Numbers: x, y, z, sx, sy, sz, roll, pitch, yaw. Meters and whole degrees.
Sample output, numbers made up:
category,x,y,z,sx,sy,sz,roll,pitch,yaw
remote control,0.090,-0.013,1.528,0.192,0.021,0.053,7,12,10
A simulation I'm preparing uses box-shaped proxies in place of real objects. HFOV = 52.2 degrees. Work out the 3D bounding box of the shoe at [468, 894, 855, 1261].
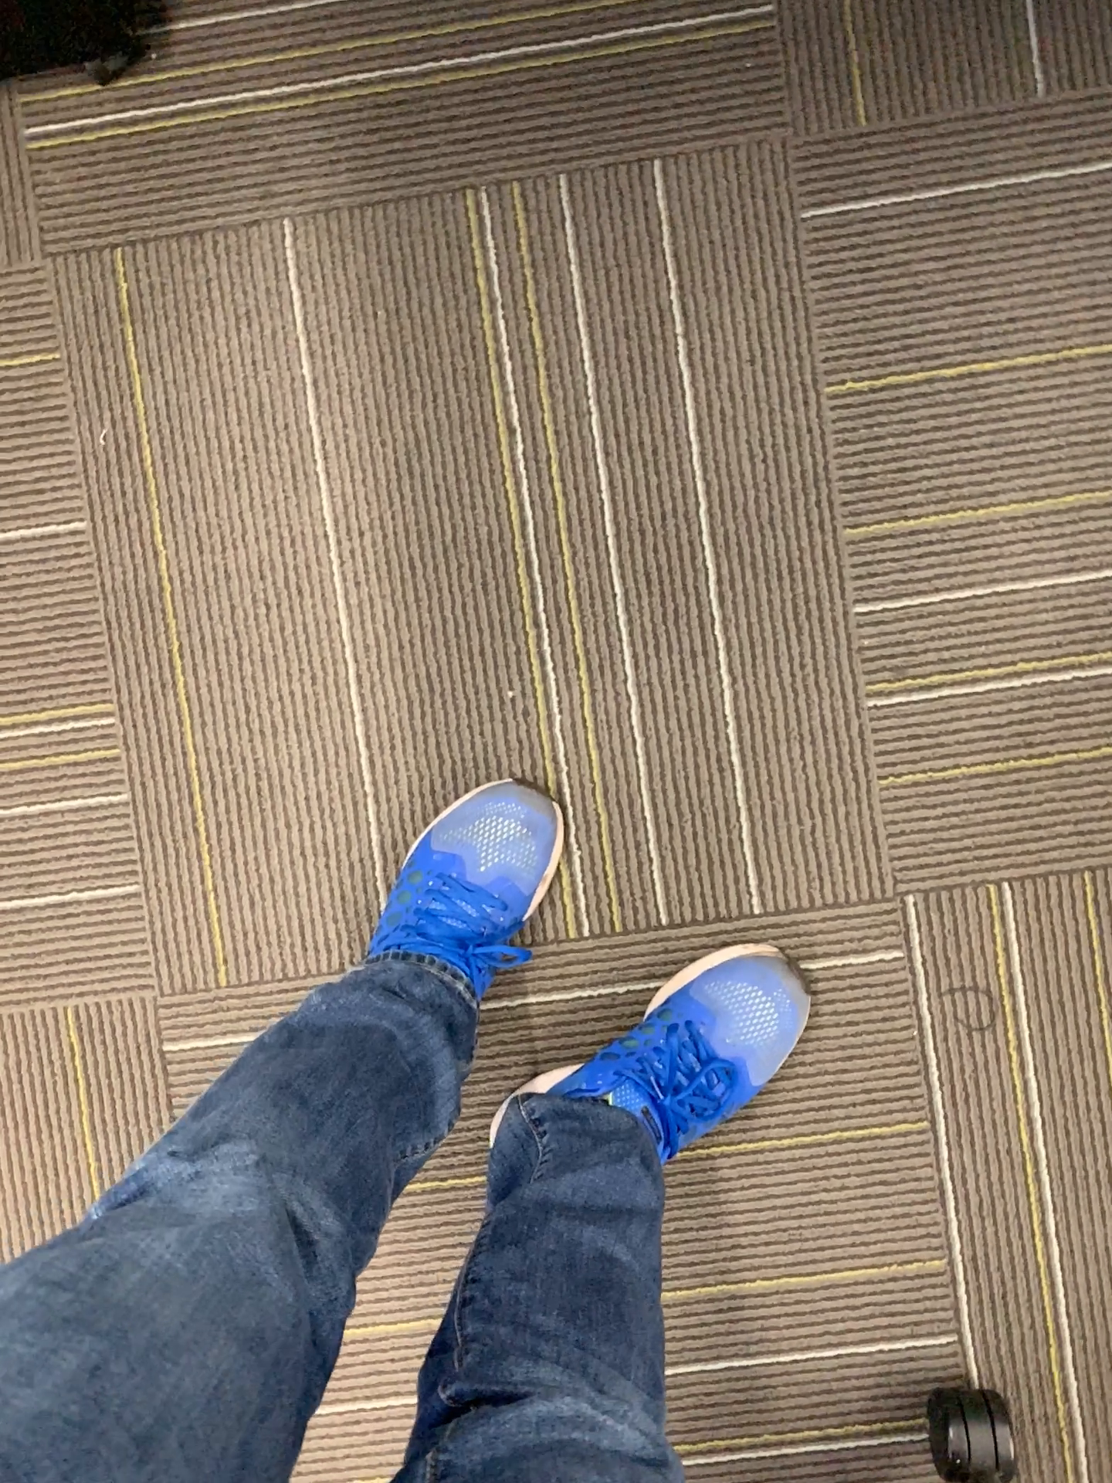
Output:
category,x,y,z,sx,sy,sz,roll,pitch,yaw
shoe,0.086,0.278,0.959,0.299,0.077,0.128,-40,89,3

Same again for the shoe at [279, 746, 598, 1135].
category,x,y,z,sx,sy,sz,roll,pitch,yaw
shoe,-0.097,0.164,0.970,0.125,0.077,0.298,32,92,2
